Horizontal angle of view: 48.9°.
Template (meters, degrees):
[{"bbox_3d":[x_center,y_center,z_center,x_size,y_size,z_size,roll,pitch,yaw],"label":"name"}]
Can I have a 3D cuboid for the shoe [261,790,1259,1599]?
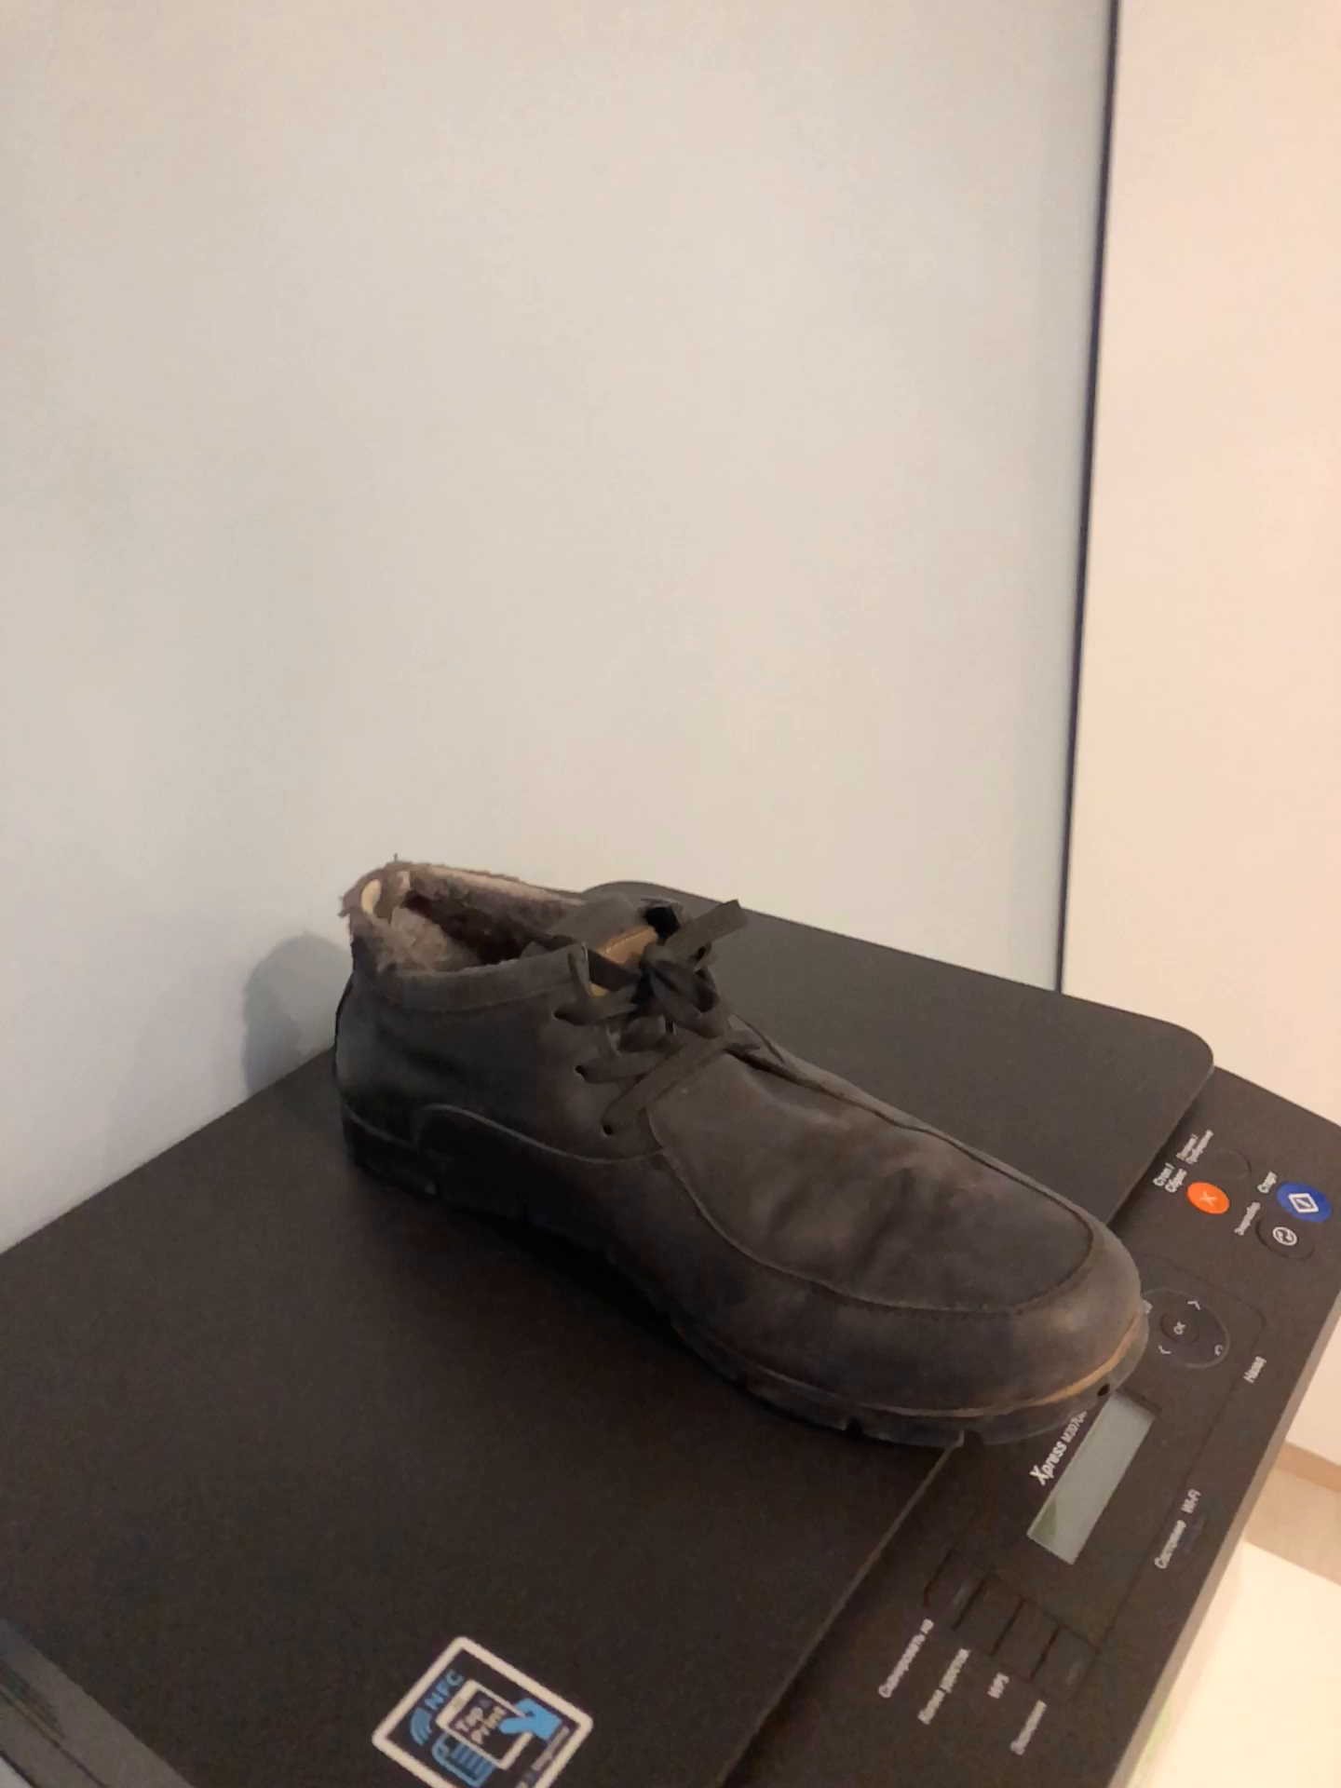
[{"bbox_3d":[0.014,0.066,0.452,0.281,0.109,0.110,18,33,37],"label":"shoe"}]
